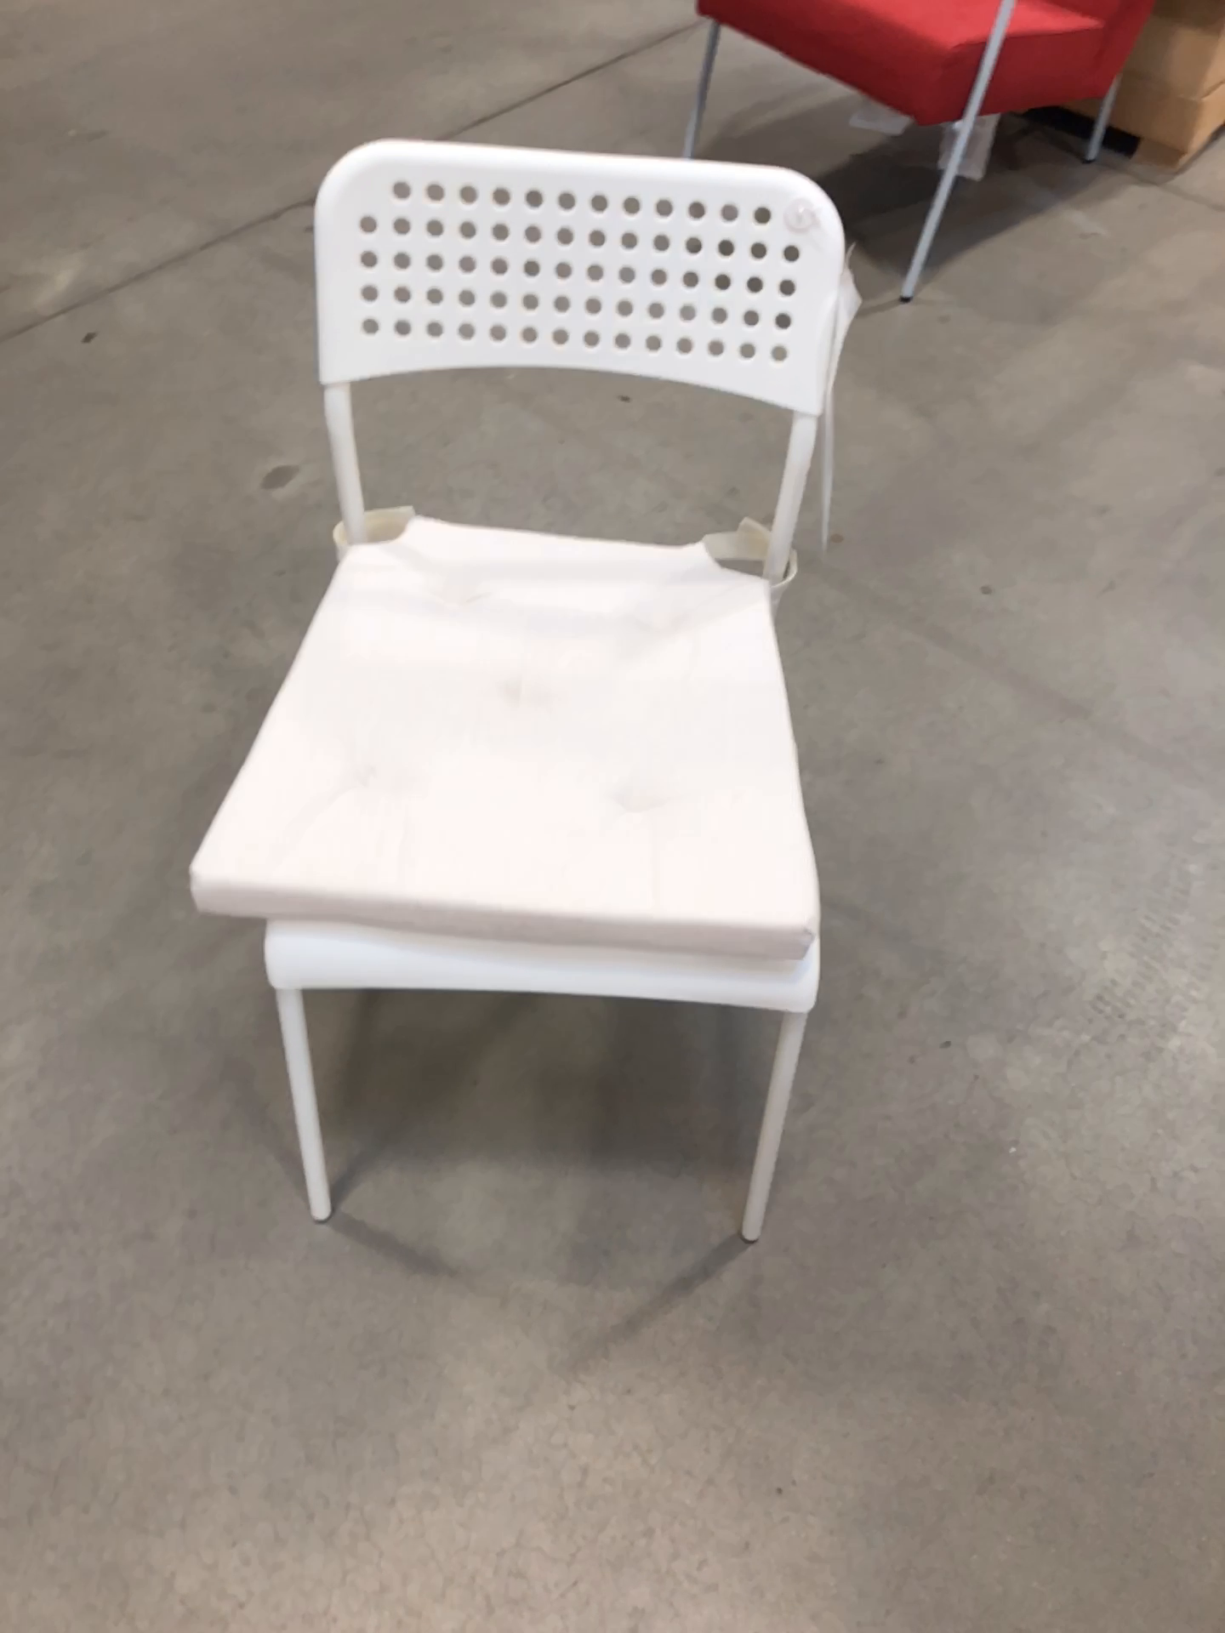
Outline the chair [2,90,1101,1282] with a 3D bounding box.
[{"bbox_3d":[-0.042,-0.043,1.038,0.480,0.738,0.532,3,51,-2],"label":"chair"}]
